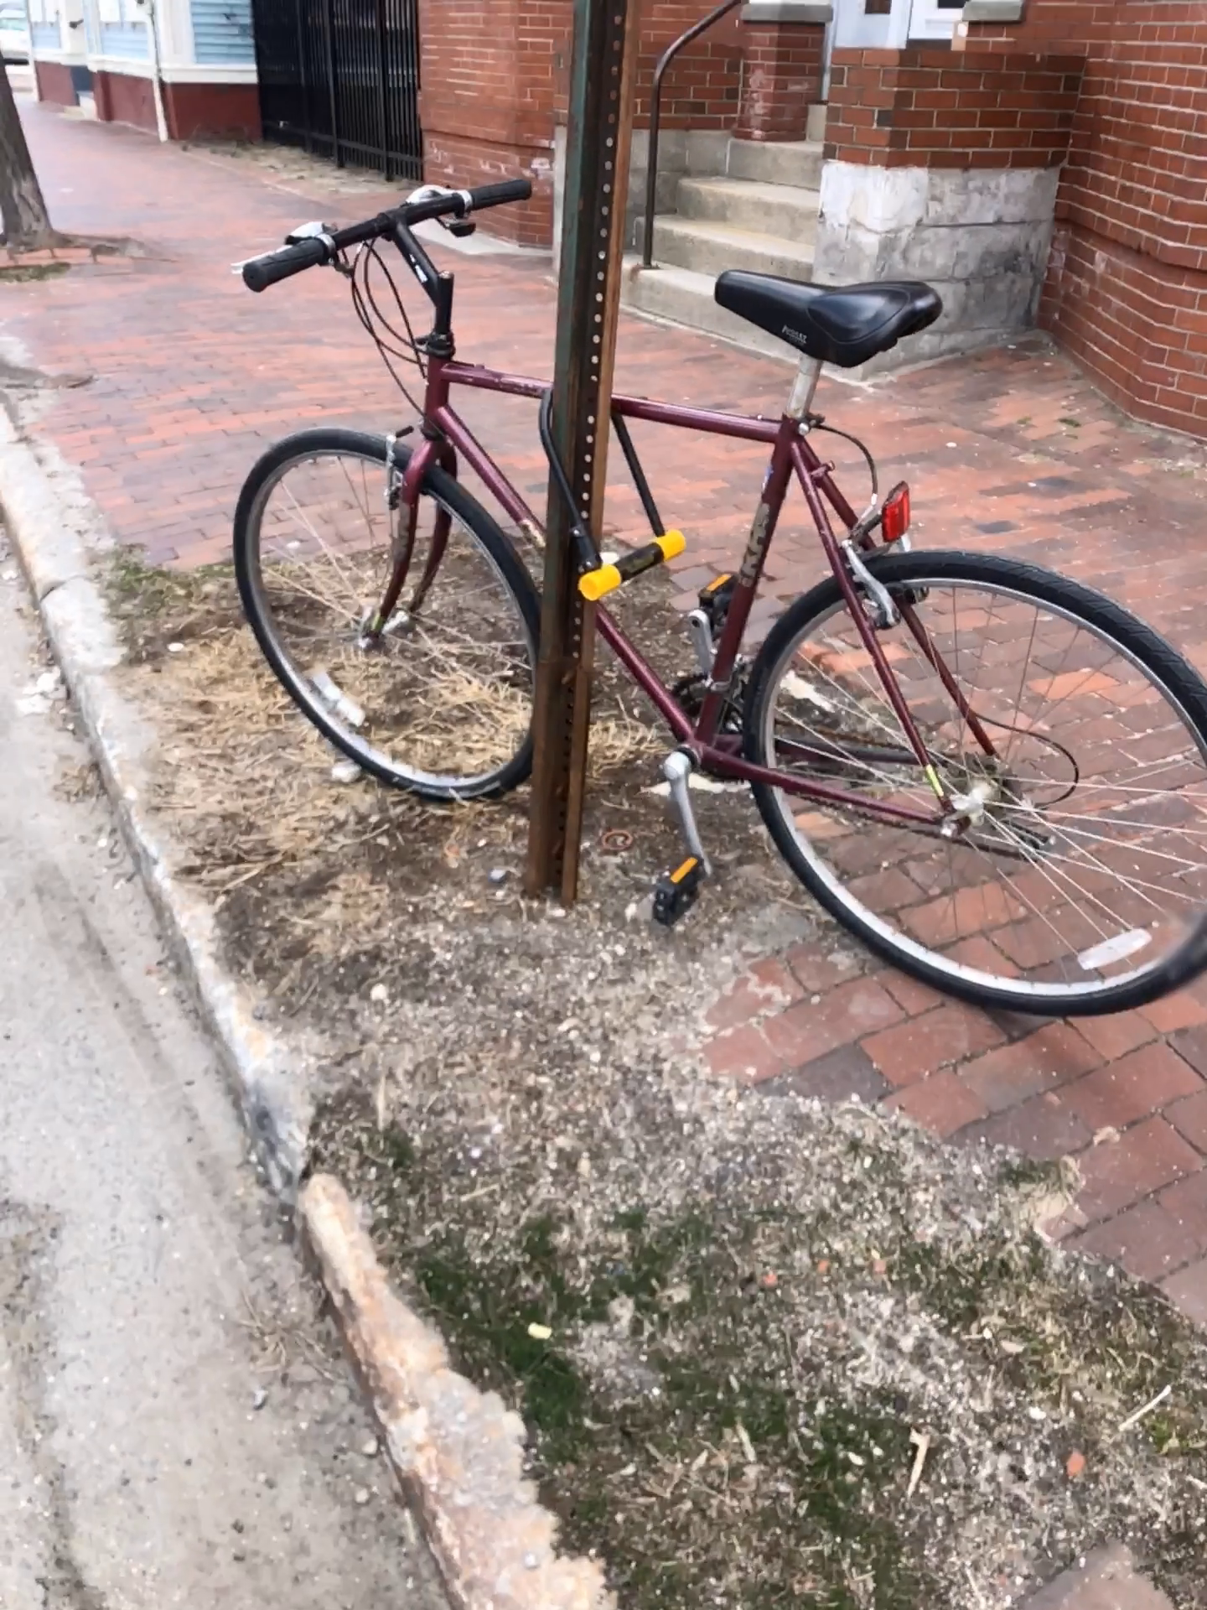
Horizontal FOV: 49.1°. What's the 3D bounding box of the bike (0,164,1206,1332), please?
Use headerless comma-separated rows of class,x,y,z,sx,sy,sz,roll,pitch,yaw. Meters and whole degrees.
bike,0.029,-0.267,1.857,1.728,1.011,0.671,21,34,29
